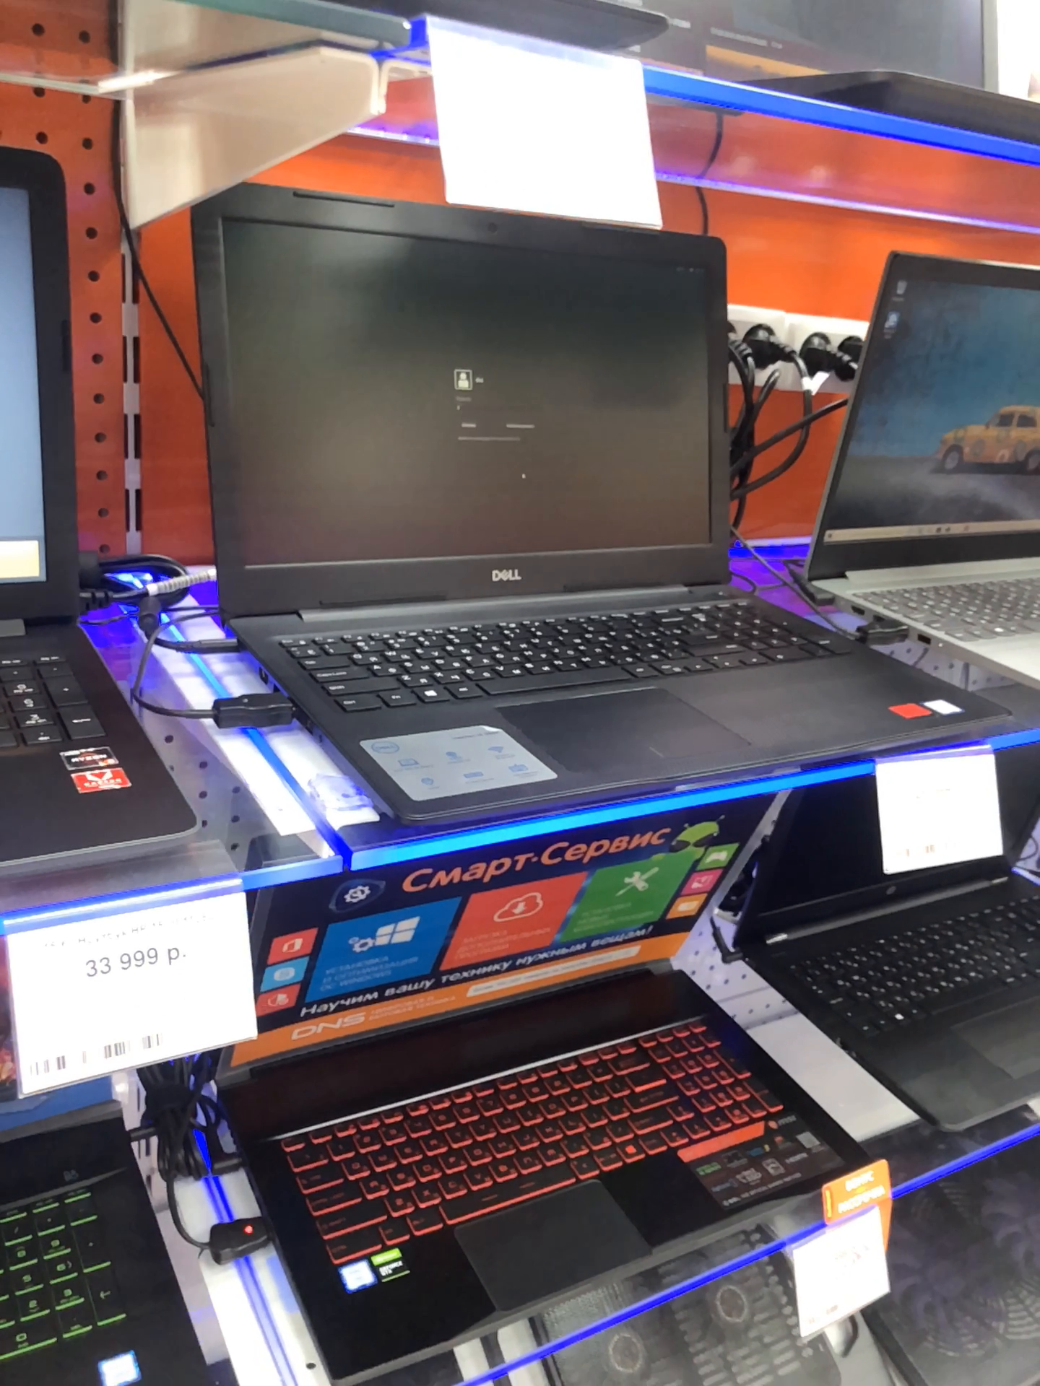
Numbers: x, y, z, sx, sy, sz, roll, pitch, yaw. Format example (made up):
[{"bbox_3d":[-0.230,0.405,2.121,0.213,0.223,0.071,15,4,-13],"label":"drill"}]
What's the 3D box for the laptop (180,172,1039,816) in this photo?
[{"bbox_3d":[0.042,-0.137,0.636,0.374,0.233,0.317,-6,24,-31],"label":"laptop"}]
